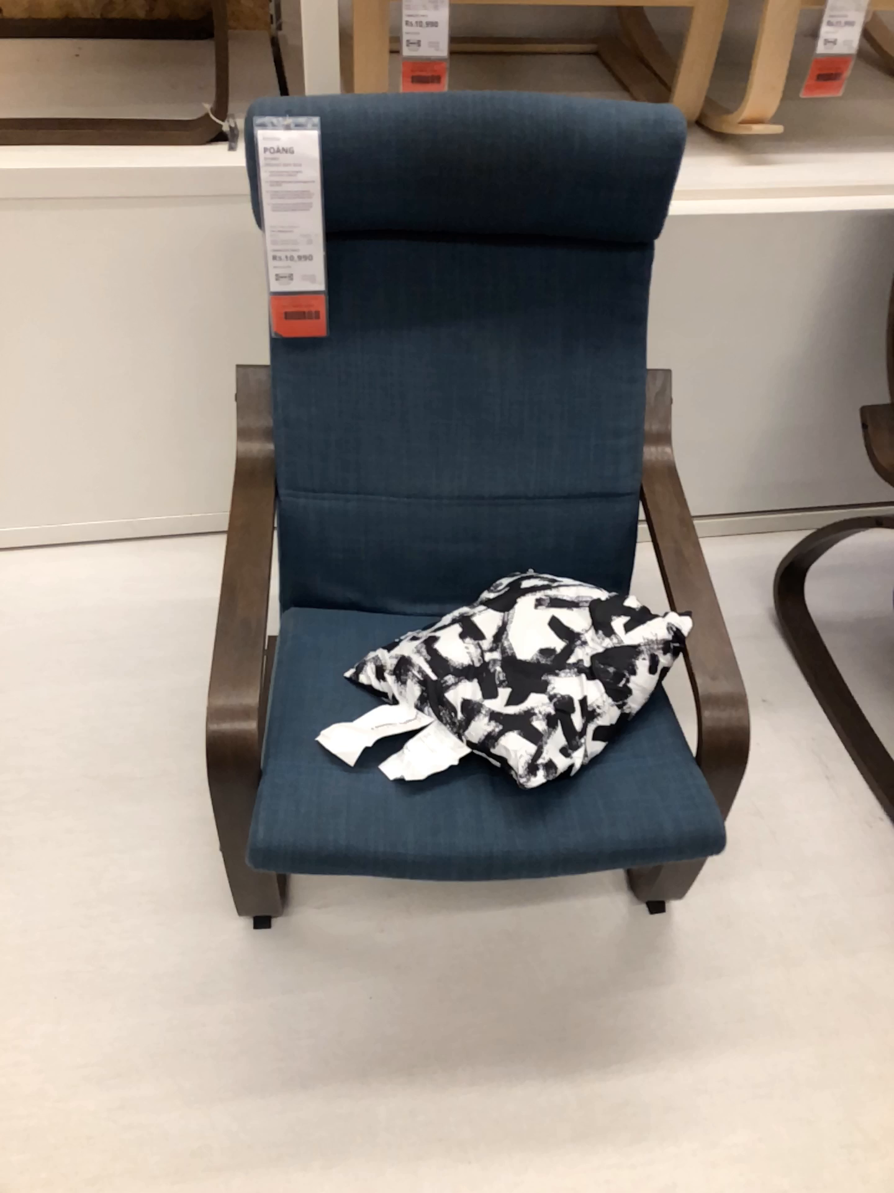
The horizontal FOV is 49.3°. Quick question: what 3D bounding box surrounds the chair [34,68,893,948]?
[{"bbox_3d":[0.026,-0.089,1.275,0.720,0.884,0.695,0,44,-4],"label":"chair"}]
